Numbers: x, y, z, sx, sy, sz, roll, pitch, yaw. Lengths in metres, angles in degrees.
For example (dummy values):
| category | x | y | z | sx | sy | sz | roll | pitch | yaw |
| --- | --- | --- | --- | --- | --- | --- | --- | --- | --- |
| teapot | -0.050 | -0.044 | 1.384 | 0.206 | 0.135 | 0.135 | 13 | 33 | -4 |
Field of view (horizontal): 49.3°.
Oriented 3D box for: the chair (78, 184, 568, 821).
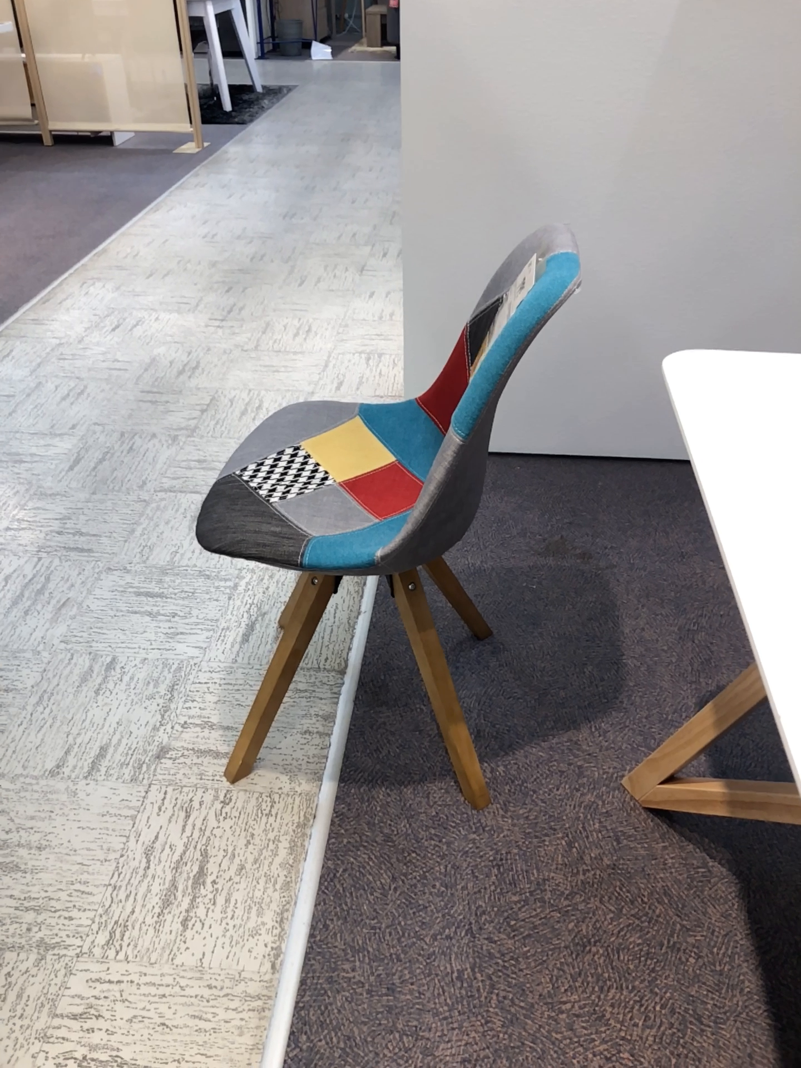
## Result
| category | x | y | z | sx | sy | sz | roll | pitch | yaw |
| --- | --- | --- | --- | --- | --- | --- | --- | --- | --- |
| chair | -0.059 | -0.043 | 1.318 | 0.510 | 0.815 | 0.473 | 2 | 34 | 5 |
